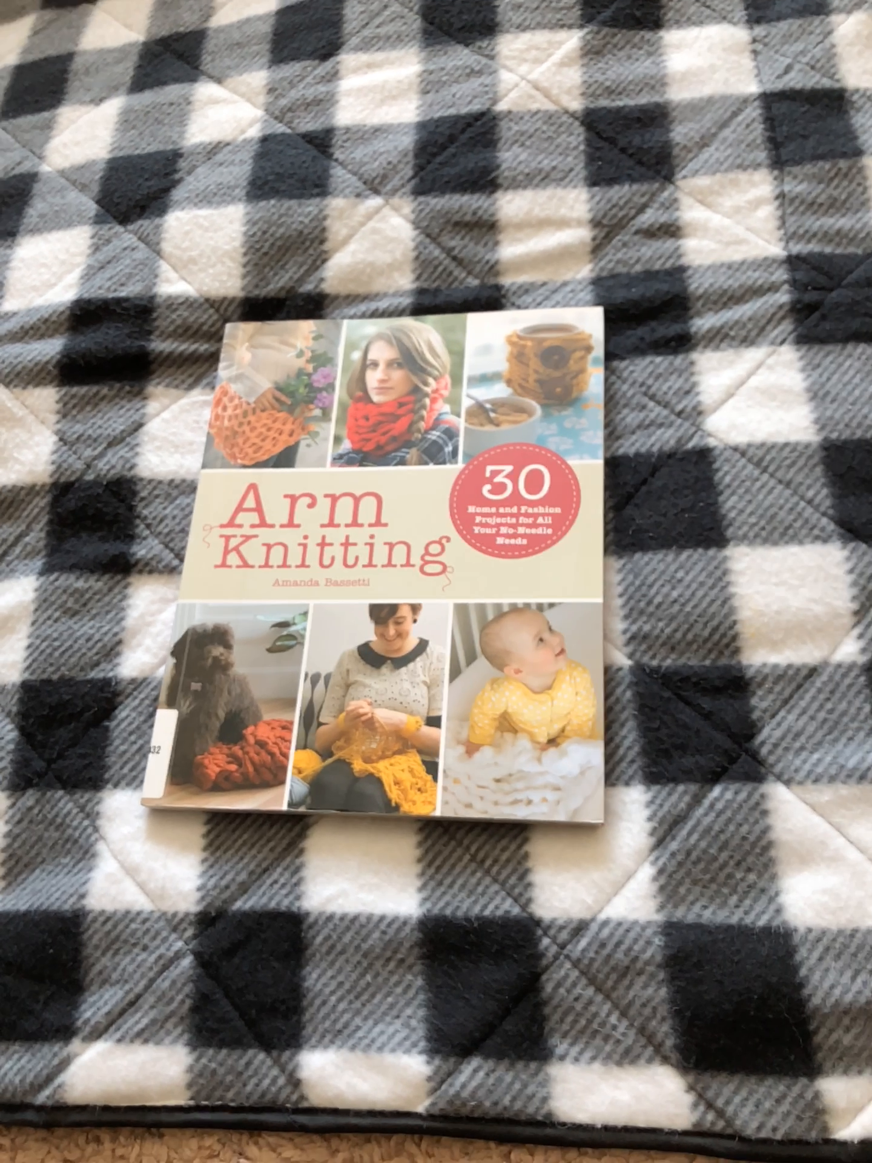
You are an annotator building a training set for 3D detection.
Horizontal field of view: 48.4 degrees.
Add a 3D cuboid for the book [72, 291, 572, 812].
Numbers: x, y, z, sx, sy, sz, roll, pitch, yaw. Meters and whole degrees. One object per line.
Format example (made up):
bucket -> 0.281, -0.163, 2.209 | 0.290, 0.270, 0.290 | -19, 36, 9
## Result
book -> -0.041, -0.024, 0.433 | 0.196, 0.020, 0.238 | 0, 66, 11
